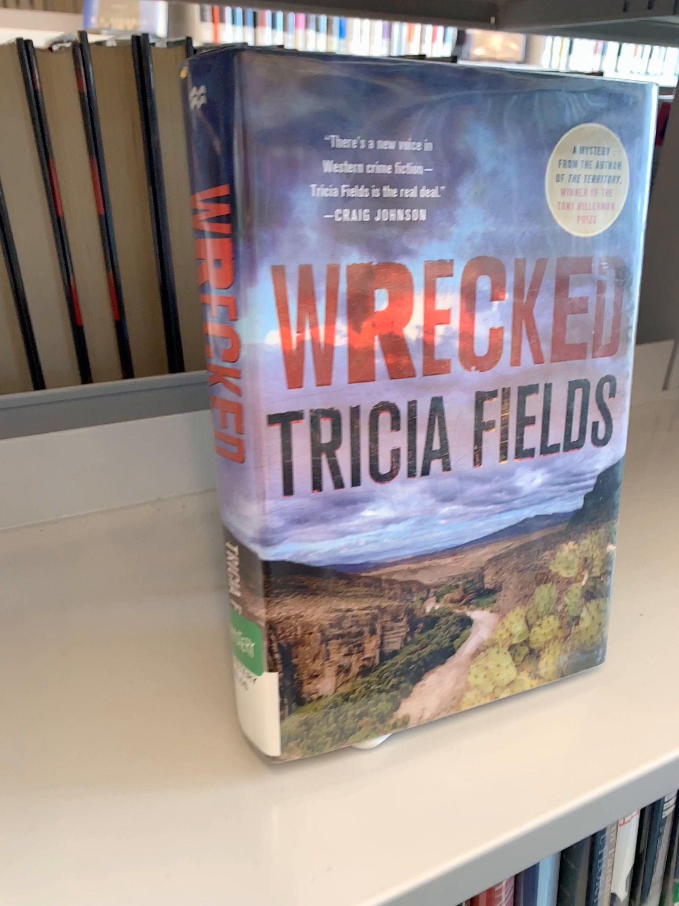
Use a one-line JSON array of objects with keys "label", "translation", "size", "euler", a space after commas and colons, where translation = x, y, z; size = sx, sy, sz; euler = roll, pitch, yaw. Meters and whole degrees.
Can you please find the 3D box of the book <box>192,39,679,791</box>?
[{"label": "book", "translation": [0.038, -0.009, 0.238], "size": [0.150, 0.213, 0.034], "euler": [-8, 18, -21]}]
